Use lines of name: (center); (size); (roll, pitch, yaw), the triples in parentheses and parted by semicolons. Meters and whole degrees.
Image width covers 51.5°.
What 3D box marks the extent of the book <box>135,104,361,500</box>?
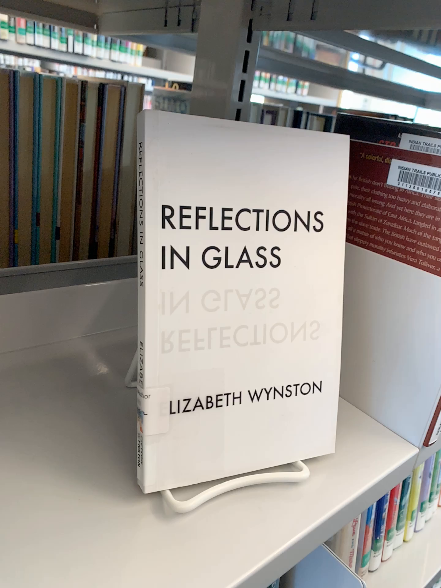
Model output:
book: (0.017, 0.006, 0.259); (0.127, 0.196, 0.018); (-2, 8, -25)
